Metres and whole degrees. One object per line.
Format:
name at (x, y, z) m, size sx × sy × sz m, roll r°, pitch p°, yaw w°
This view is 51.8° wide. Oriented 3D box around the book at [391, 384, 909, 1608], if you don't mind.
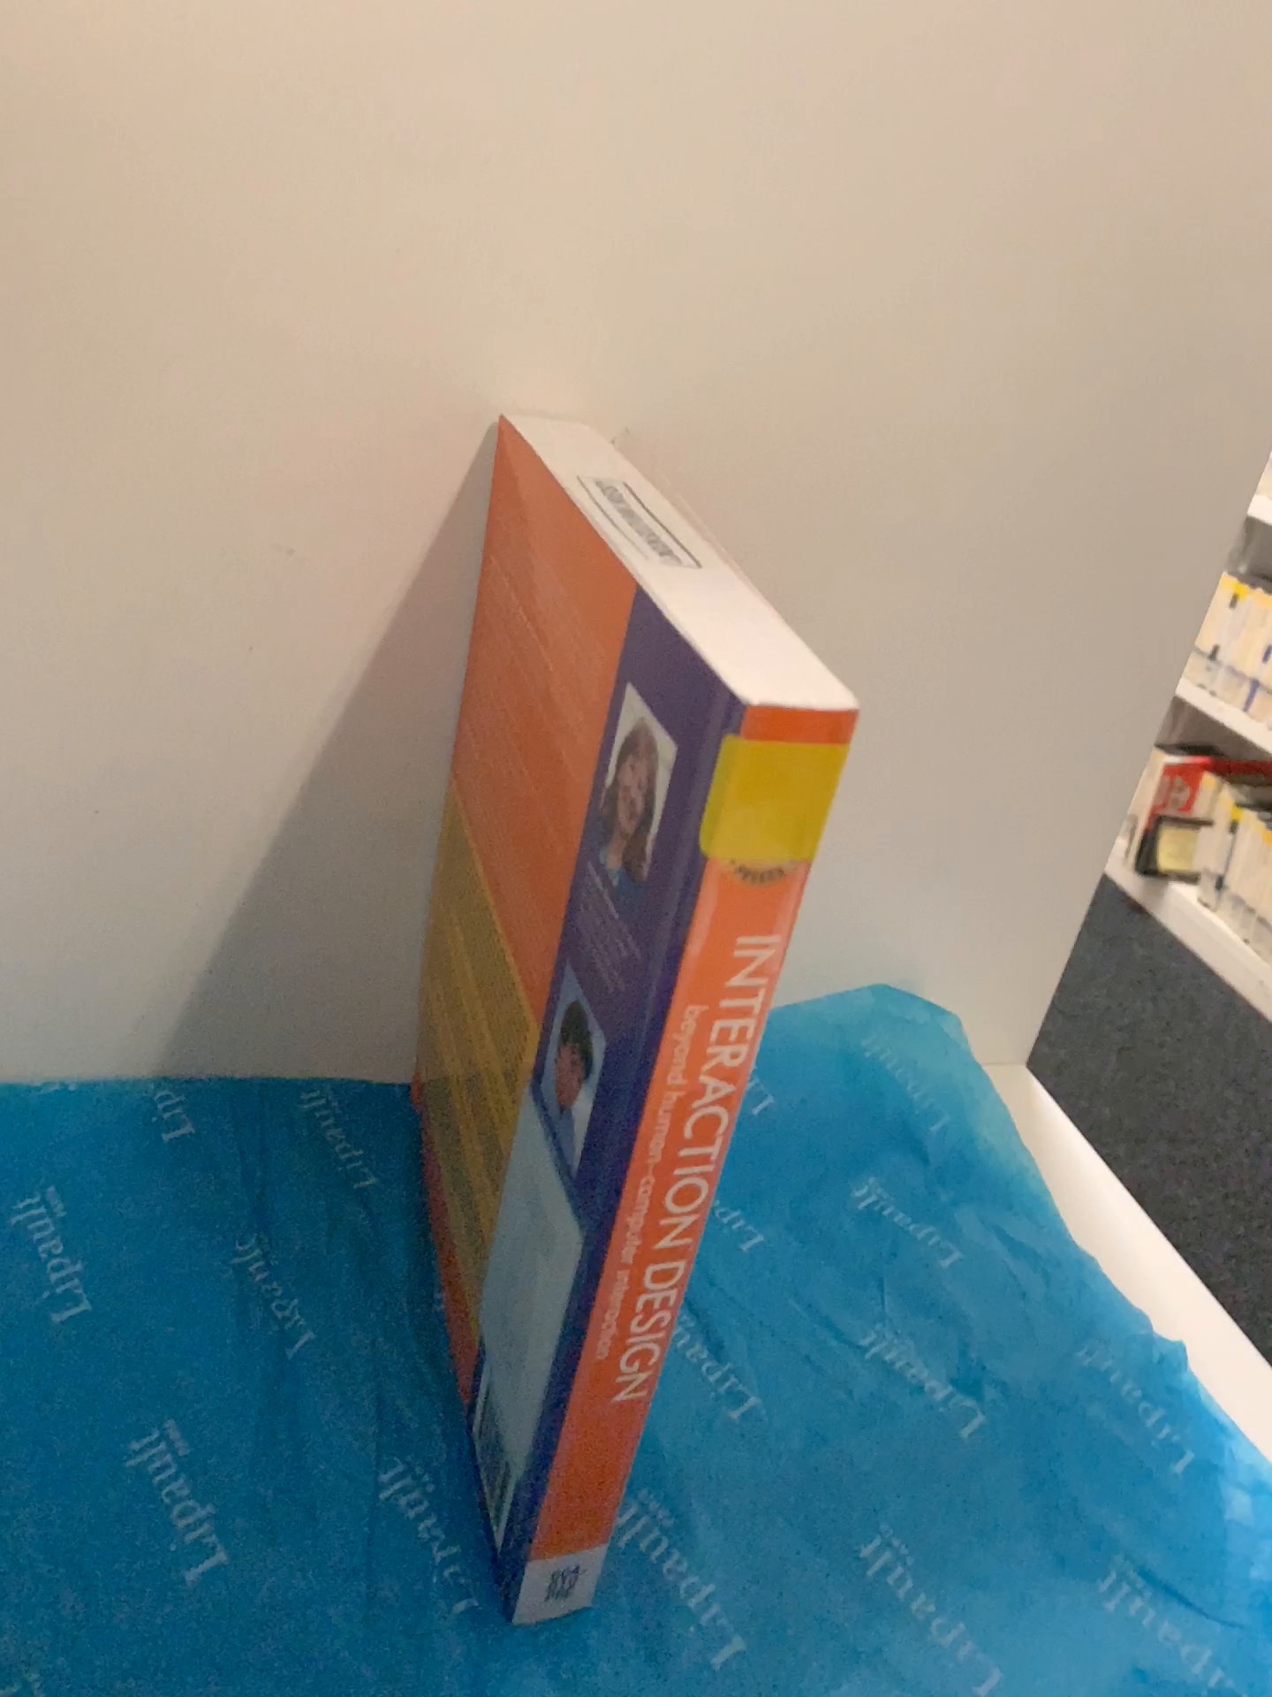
book at (-0.022, 0.028, 0.347) m, size 0.030 × 0.247 × 0.196 m, roll 2°, pitch 29°, yaw -21°
